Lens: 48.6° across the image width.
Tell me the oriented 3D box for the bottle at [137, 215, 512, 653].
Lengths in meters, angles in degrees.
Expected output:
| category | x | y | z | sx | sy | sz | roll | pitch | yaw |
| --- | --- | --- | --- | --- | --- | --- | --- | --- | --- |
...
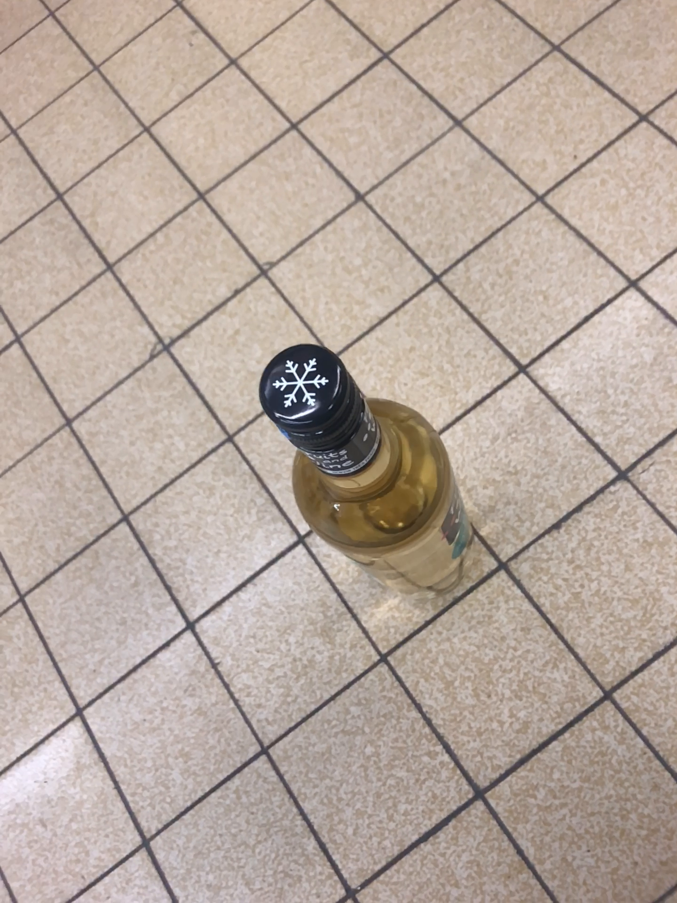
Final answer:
| category | x | y | z | sx | sy | sz | roll | pitch | yaw |
| --- | --- | --- | --- | --- | --- | --- | --- | --- | --- |
| bottle | 0.022 | 0.028 | 0.367 | 0.090 | 0.300 | 0.100 | -20 | 69 | 6 |
